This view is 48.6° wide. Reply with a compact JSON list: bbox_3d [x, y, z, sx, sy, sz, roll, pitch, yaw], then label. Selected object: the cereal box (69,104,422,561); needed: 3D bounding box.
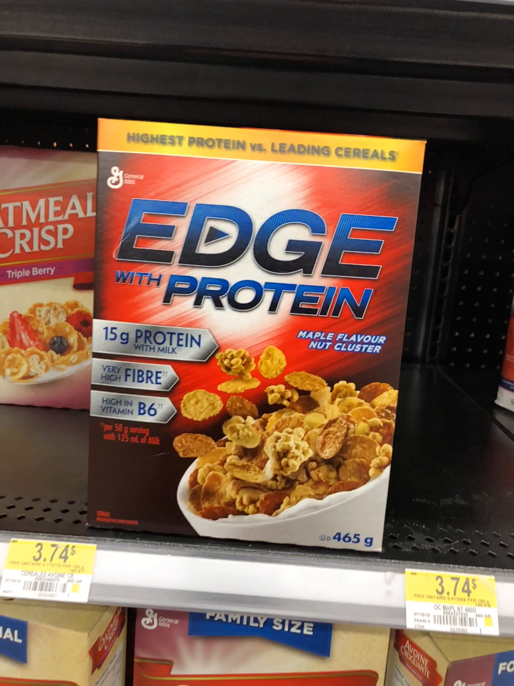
[{"bbox_3d":[-0.013,-0.005,0.381,0.200,0.269,0.060,5,9,2],"label":"cereal box"}]
